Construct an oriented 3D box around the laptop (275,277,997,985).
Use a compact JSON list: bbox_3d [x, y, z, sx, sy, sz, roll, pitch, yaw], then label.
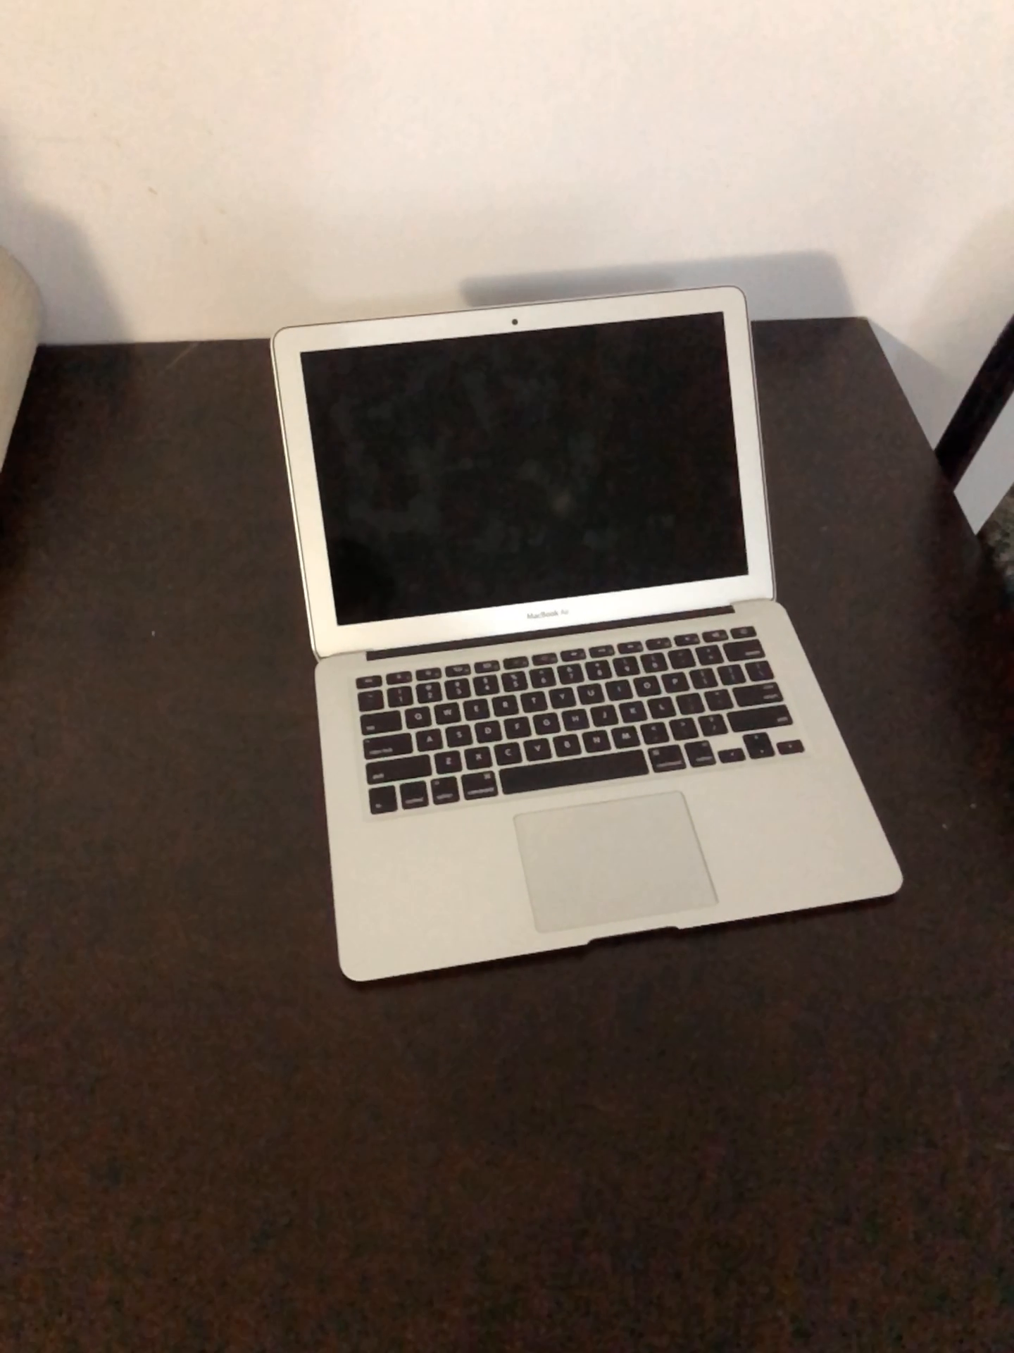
[{"bbox_3d":[0.037,-0.050,0.637,0.303,0.136,0.362,-8,52,-6],"label":"laptop"}]
